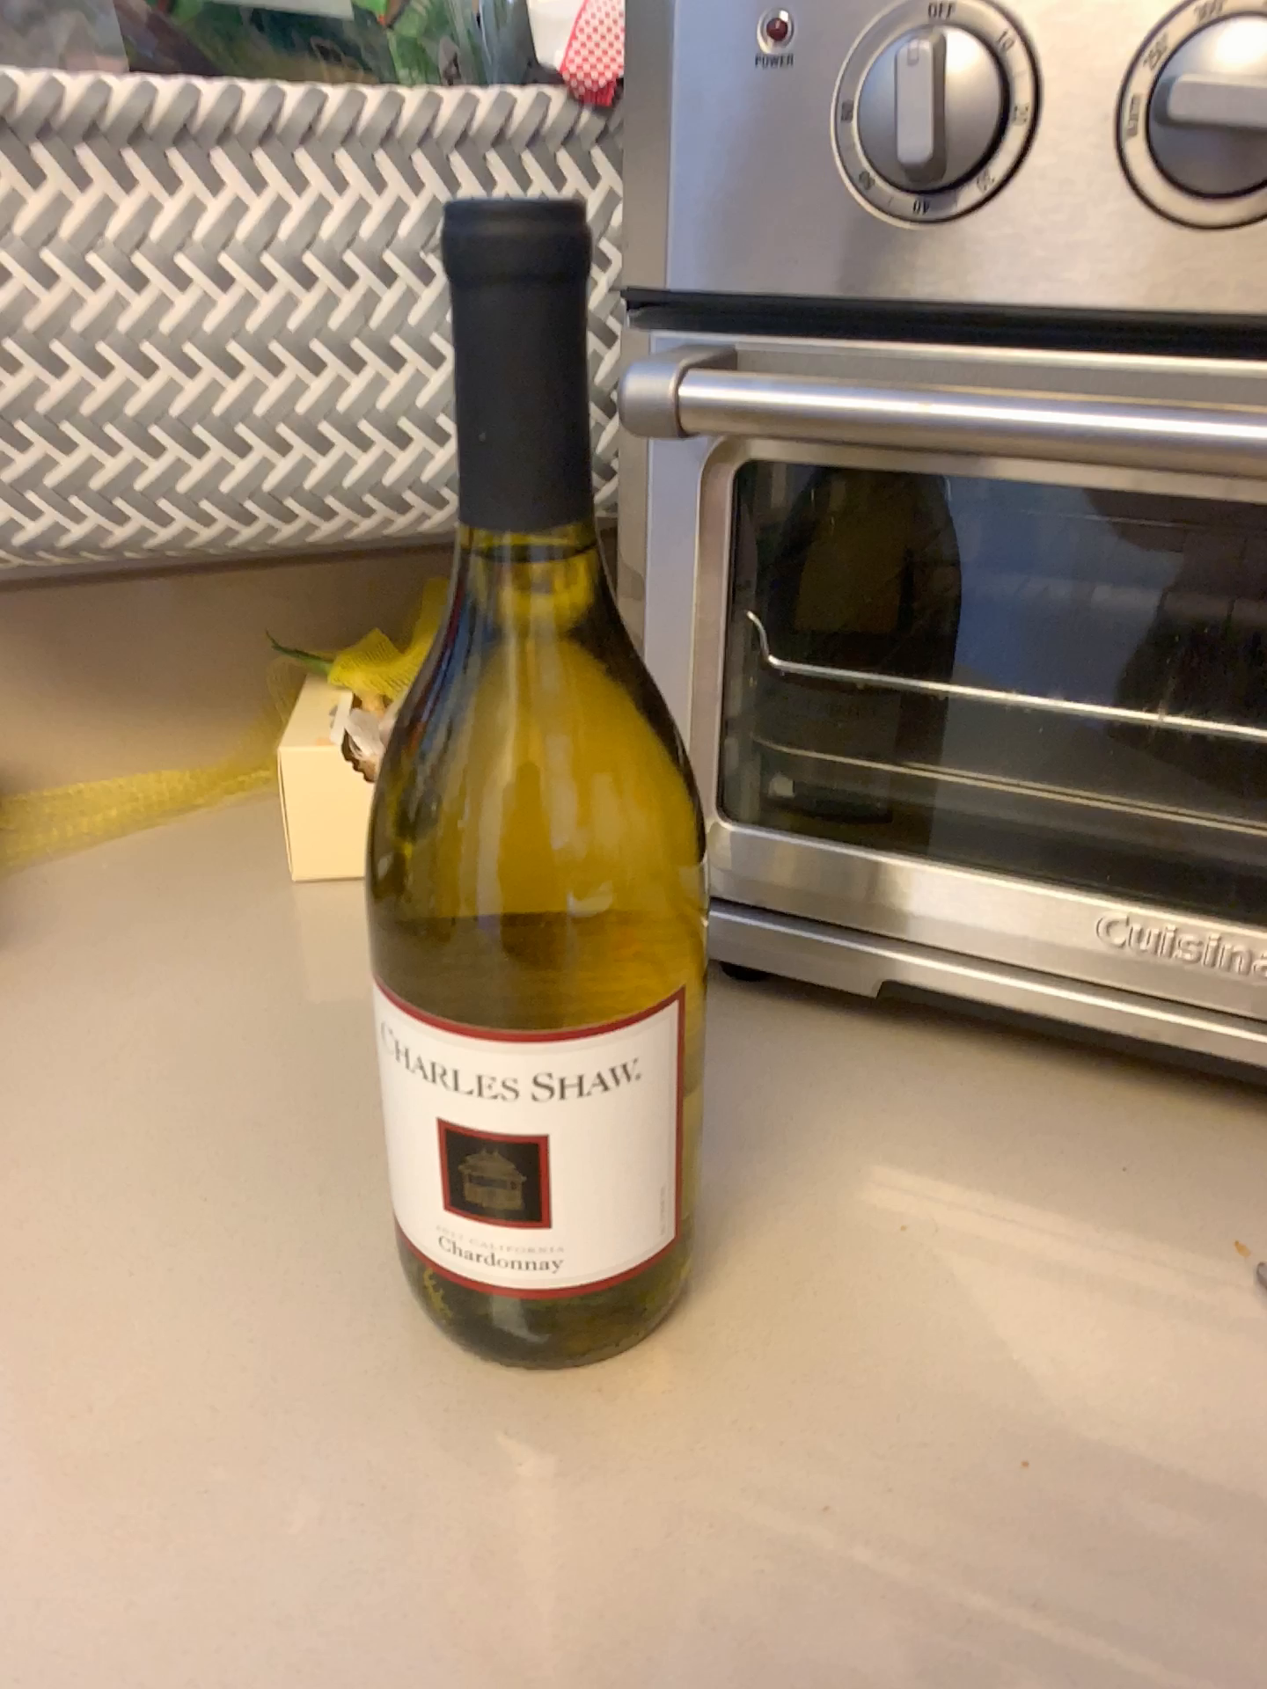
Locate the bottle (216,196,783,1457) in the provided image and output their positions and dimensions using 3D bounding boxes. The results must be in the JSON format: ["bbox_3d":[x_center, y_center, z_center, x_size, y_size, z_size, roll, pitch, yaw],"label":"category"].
[{"bbox_3d":[-0.022,0.004,0.295,0.080,0.268,0.070,10,27,19],"label":"bottle"}]
